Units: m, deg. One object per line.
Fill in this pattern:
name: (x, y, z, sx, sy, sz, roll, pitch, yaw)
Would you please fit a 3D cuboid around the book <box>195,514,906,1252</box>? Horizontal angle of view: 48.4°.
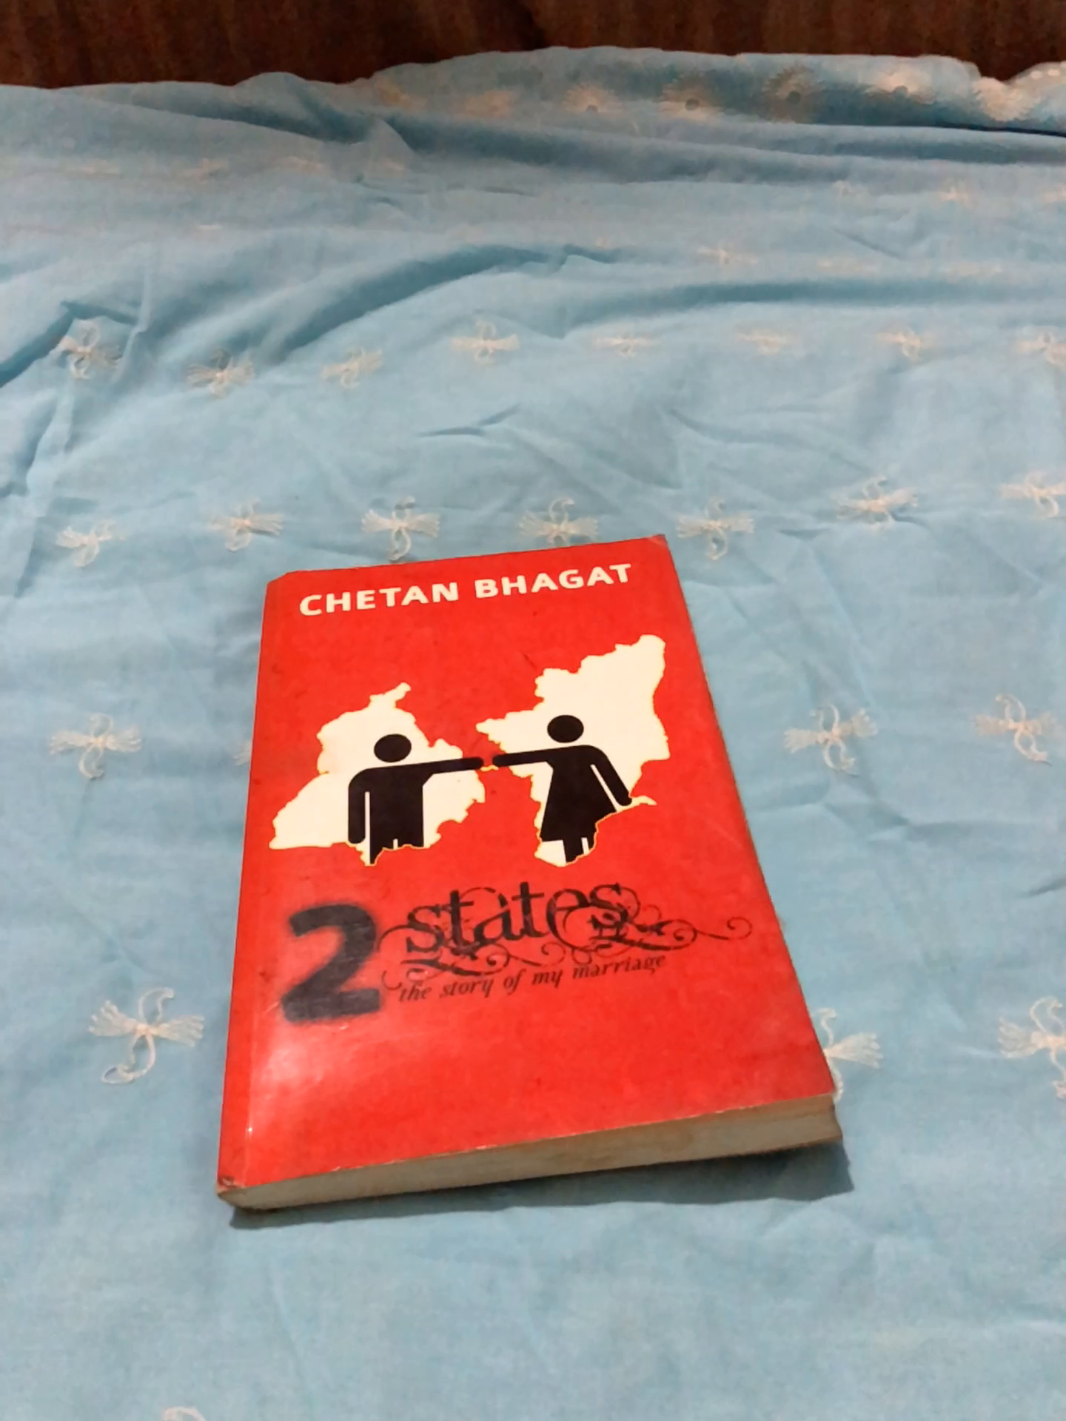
book: (-0.006, 0.025, 0.312, 0.140, 0.030, 0.201, -5, 46, -4)
